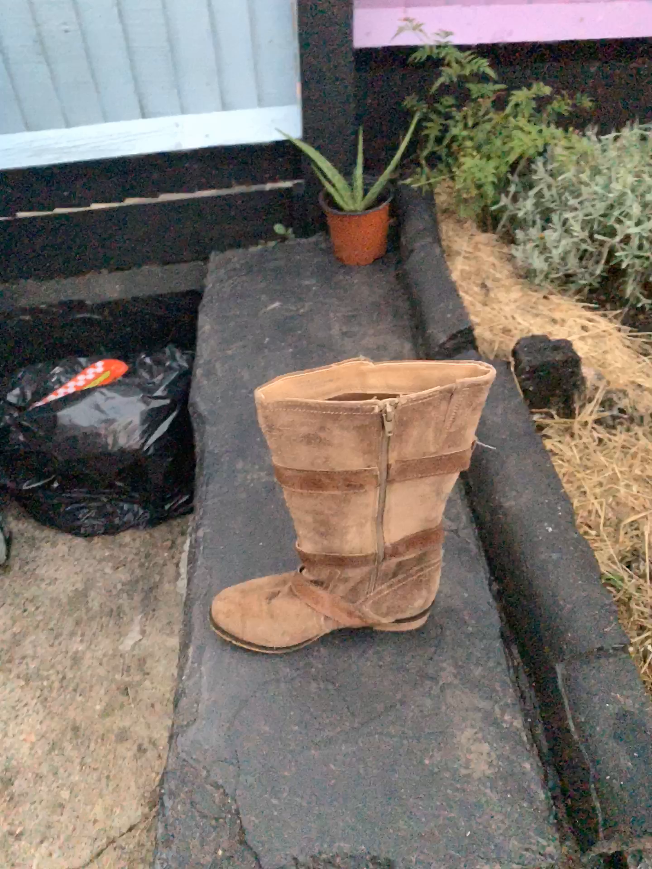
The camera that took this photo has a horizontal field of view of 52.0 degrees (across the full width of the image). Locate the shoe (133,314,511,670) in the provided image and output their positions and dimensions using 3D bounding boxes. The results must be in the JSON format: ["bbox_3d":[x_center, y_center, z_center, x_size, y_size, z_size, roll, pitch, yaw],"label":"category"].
[{"bbox_3d":[0.002,0.080,0.644,0.270,0.376,0.101,-4,44,-1],"label":"shoe"}]
